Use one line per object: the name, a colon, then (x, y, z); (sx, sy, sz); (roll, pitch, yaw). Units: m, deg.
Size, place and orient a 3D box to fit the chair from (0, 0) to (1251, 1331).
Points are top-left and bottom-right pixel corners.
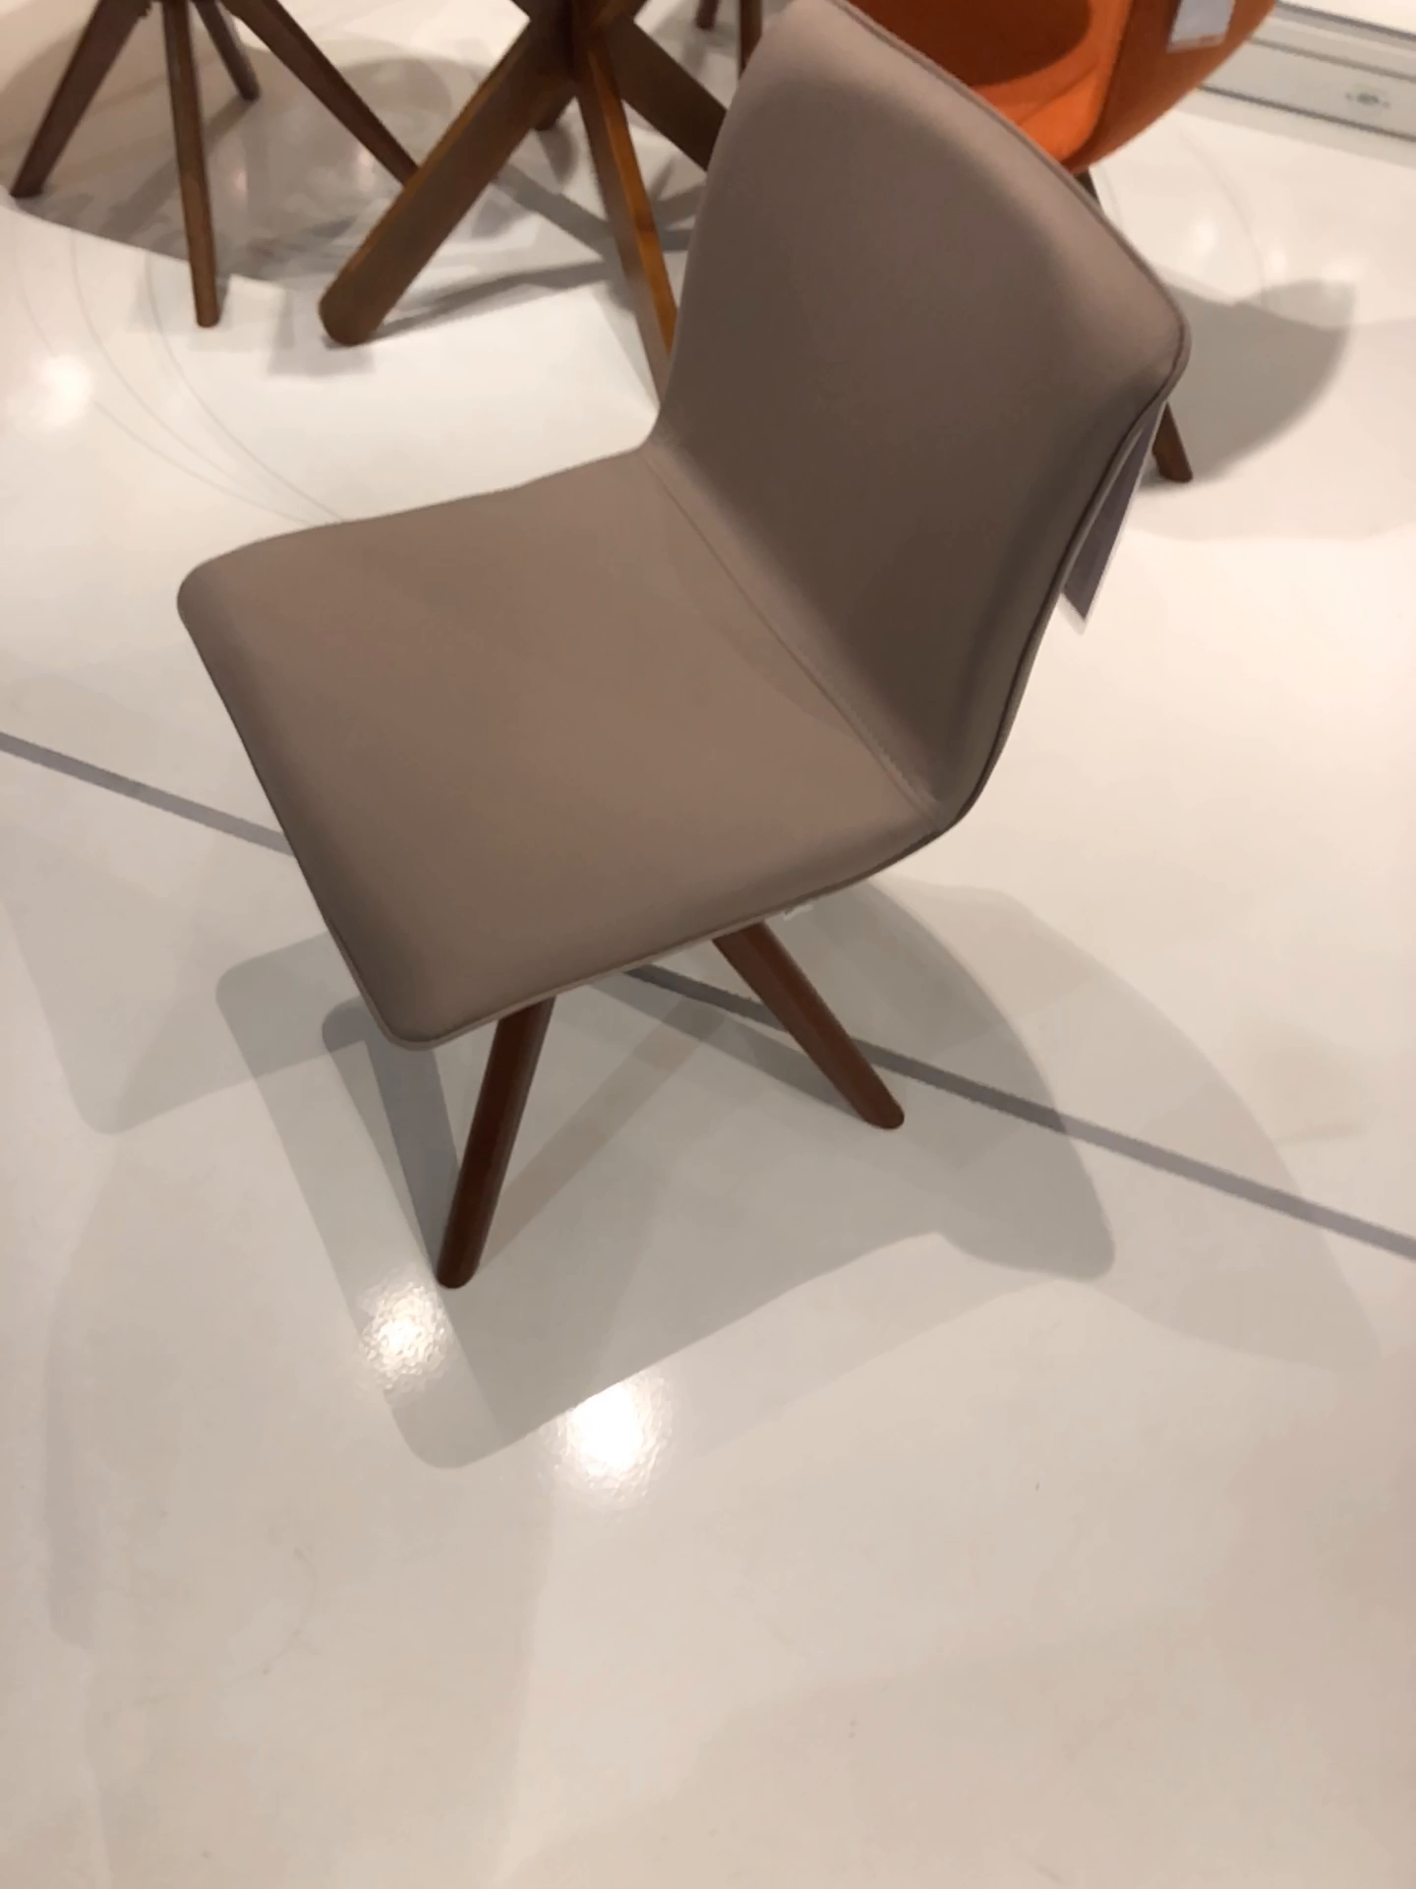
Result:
chair: (-0.088, -0.184, 1.151); (0.511, 0.805, 0.502); (-21, 59, -16)
